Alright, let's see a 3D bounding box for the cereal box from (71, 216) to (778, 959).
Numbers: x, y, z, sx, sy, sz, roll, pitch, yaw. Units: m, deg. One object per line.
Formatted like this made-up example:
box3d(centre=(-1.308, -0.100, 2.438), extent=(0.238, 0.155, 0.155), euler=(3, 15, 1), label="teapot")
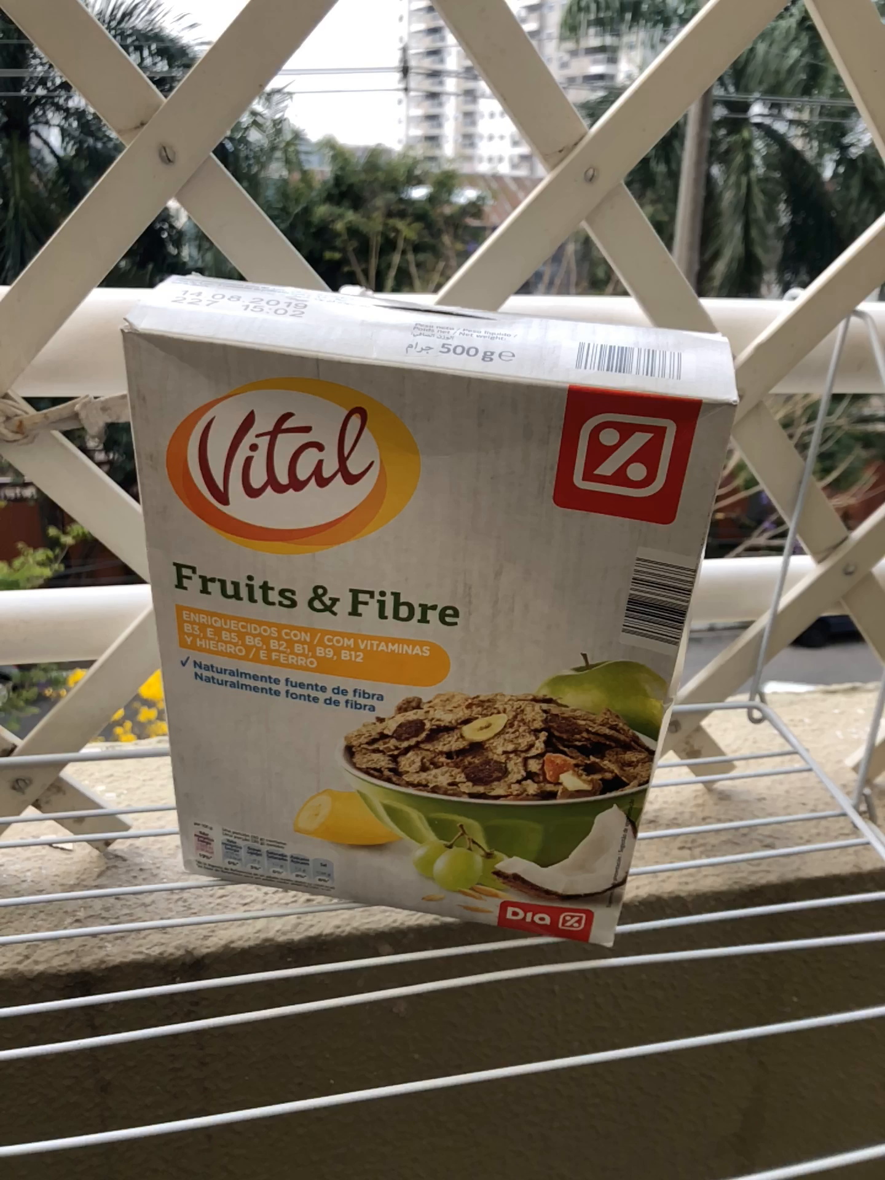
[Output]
box3d(centre=(-0.010, 0.010, 0.387), extent=(0.210, 0.268, 0.071), euler=(8, 33, 8), label="cereal box")
